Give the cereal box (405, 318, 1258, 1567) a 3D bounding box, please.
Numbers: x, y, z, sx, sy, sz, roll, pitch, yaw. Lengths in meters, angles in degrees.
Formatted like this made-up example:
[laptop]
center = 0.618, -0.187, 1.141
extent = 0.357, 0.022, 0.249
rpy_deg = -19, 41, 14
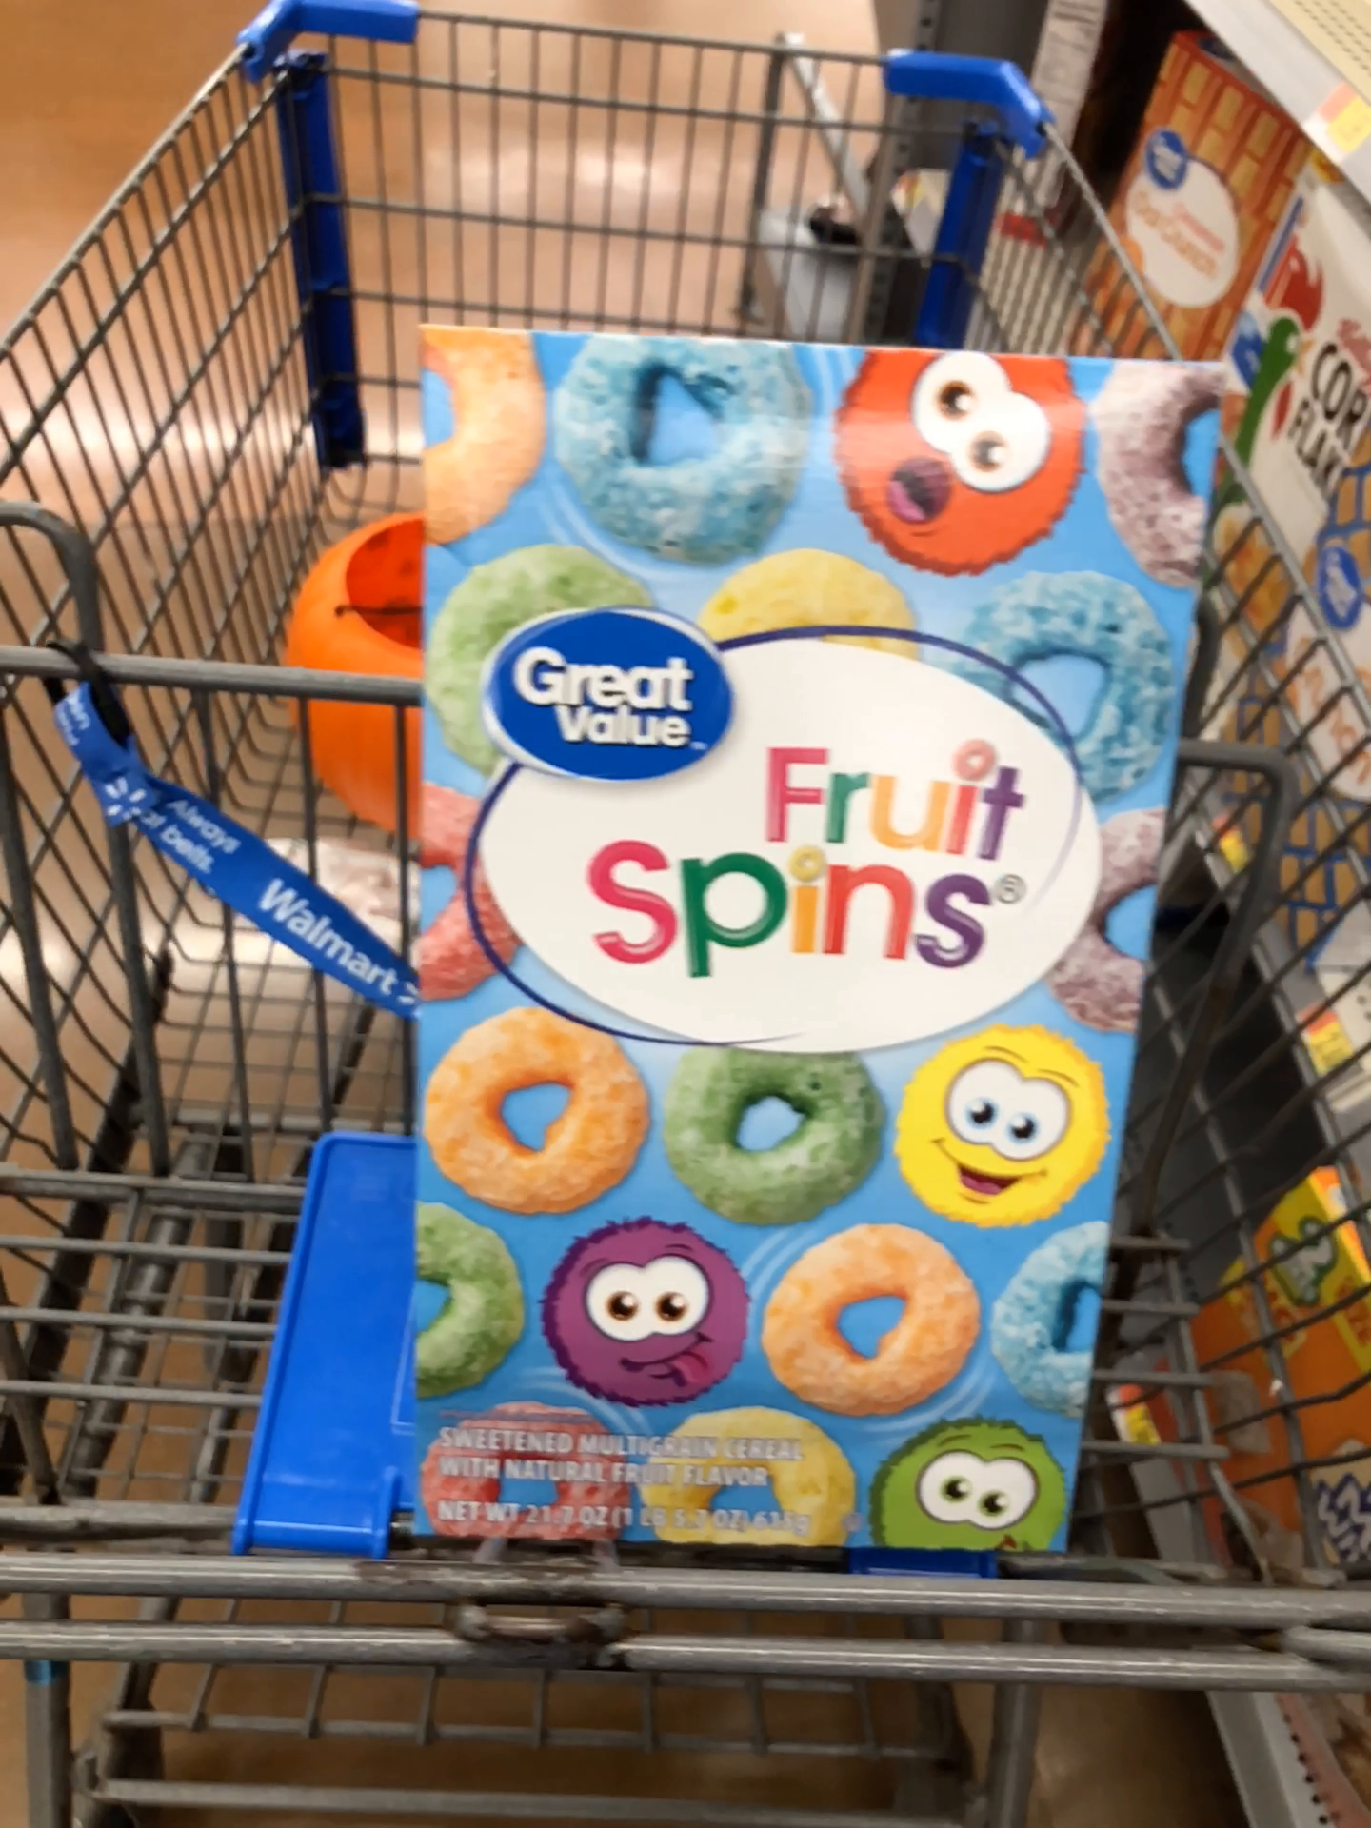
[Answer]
[cereal box]
center = 0.026, 0.016, 0.452
extent = 0.200, 0.340, 0.090
rpy_deg = 3, 16, -3
